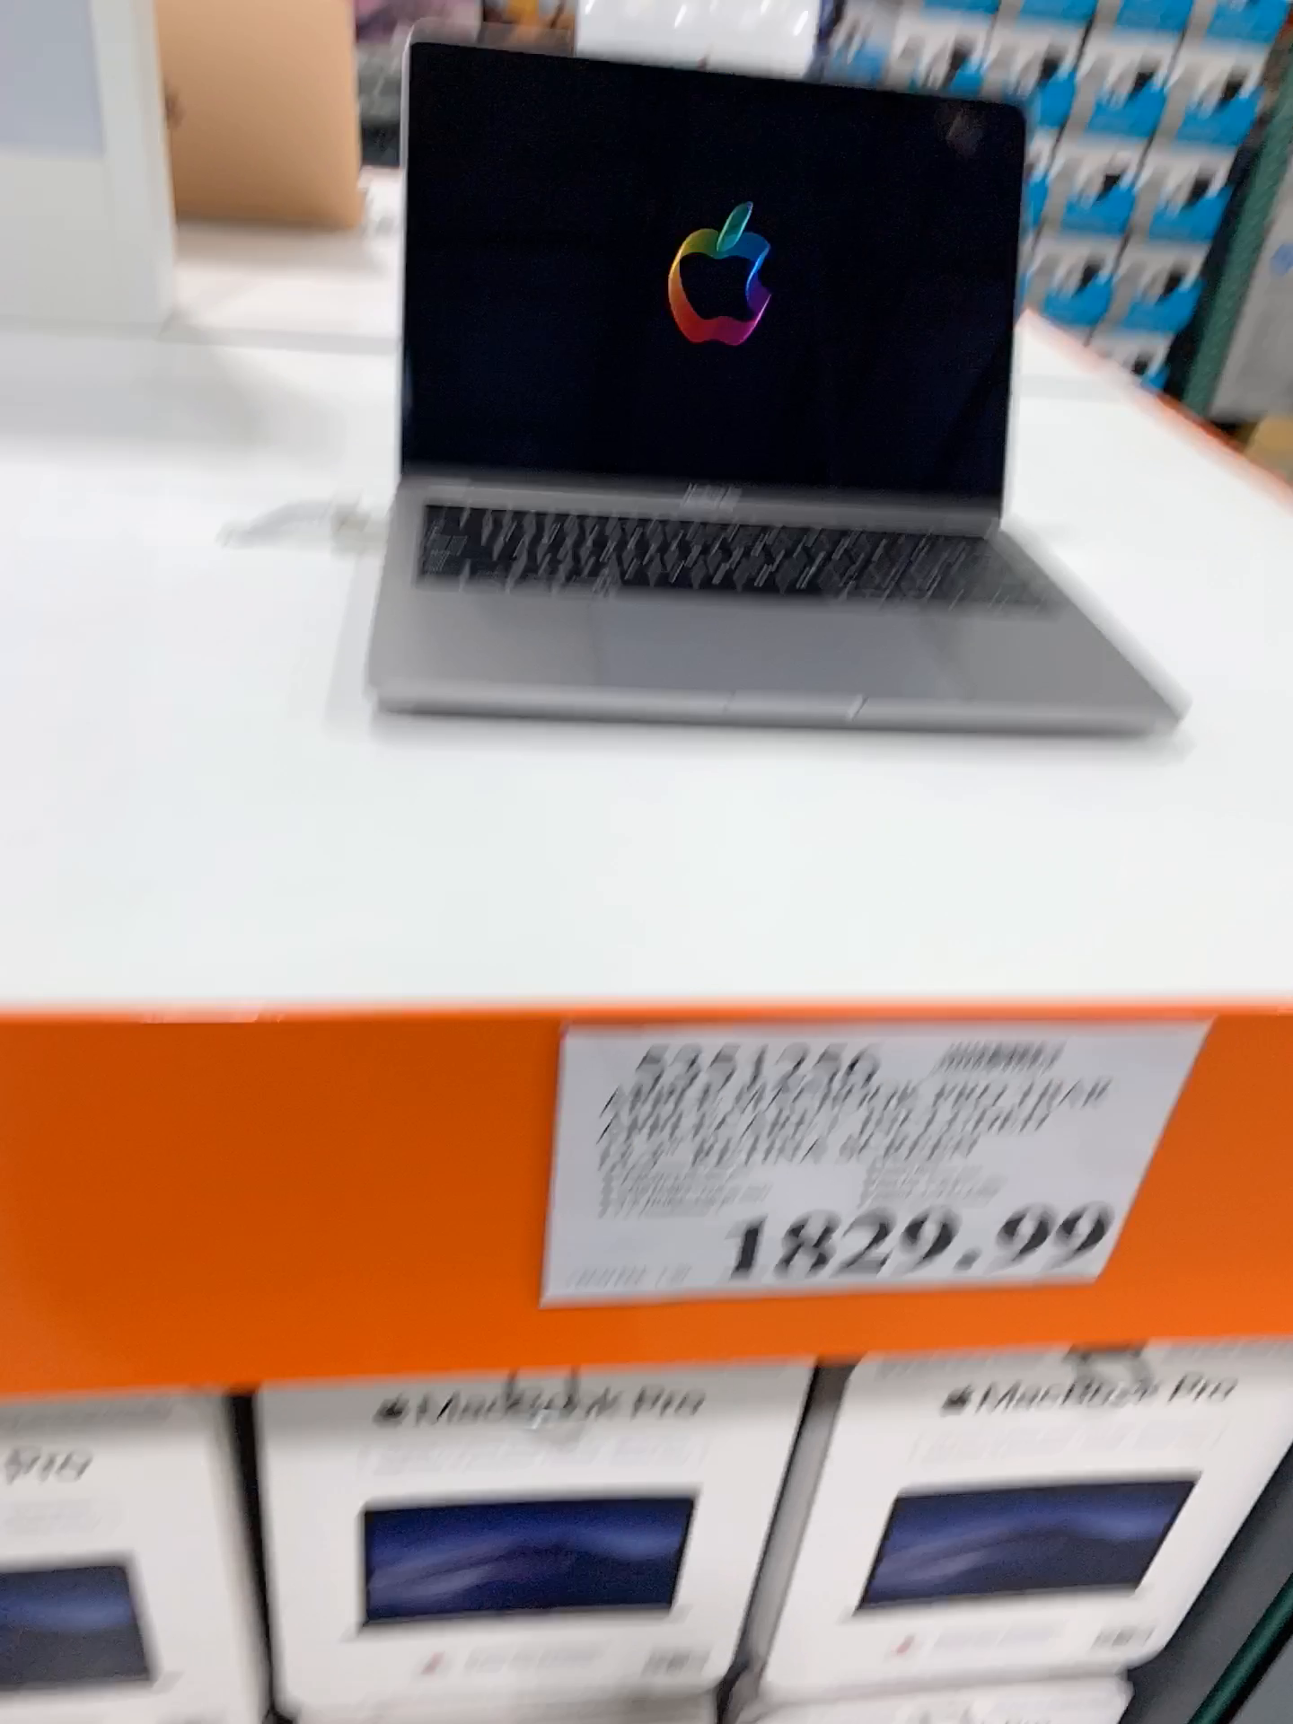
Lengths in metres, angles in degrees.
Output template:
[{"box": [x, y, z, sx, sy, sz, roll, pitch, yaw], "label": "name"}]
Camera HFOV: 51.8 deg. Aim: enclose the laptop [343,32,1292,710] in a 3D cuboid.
[{"box": [0.043, -0.212, 0.534, 0.288, 0.165, 0.308, 1, 35, -7], "label": "laptop"}]
